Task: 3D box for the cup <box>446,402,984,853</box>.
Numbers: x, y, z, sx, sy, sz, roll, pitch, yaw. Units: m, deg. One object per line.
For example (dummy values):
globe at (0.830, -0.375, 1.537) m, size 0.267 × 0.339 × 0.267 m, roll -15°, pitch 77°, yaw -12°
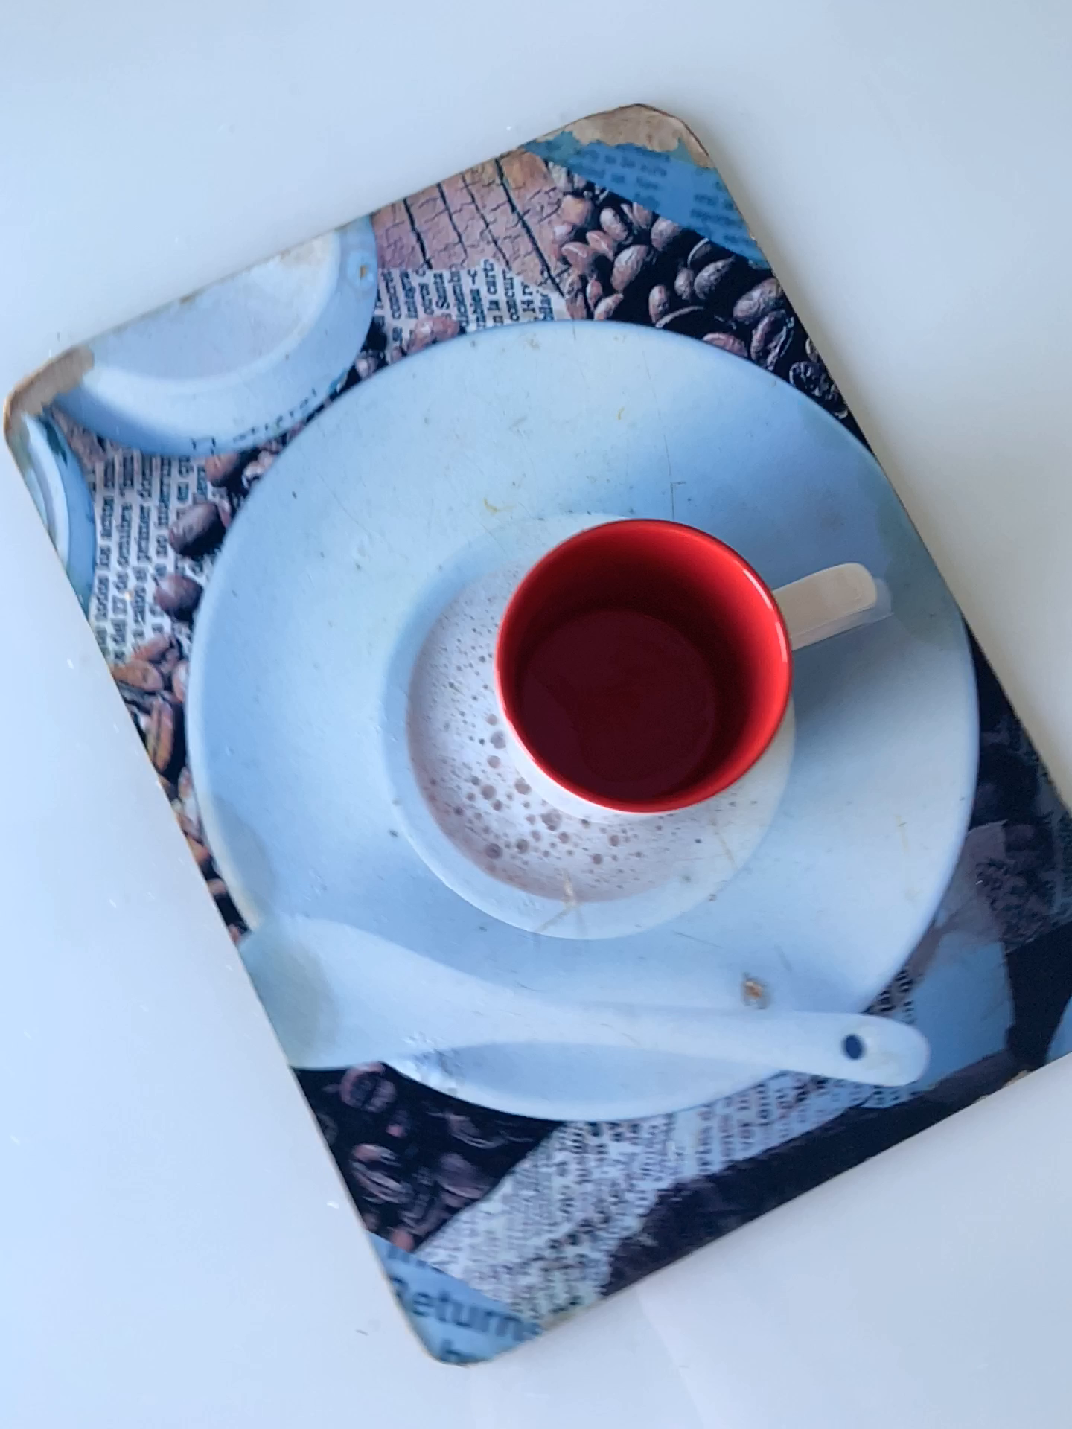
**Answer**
cup at (0.045, -0.017, 0.340) m, size 0.117 × 0.115 × 0.077 m, roll -24°, pitch 84°, yaw -3°
